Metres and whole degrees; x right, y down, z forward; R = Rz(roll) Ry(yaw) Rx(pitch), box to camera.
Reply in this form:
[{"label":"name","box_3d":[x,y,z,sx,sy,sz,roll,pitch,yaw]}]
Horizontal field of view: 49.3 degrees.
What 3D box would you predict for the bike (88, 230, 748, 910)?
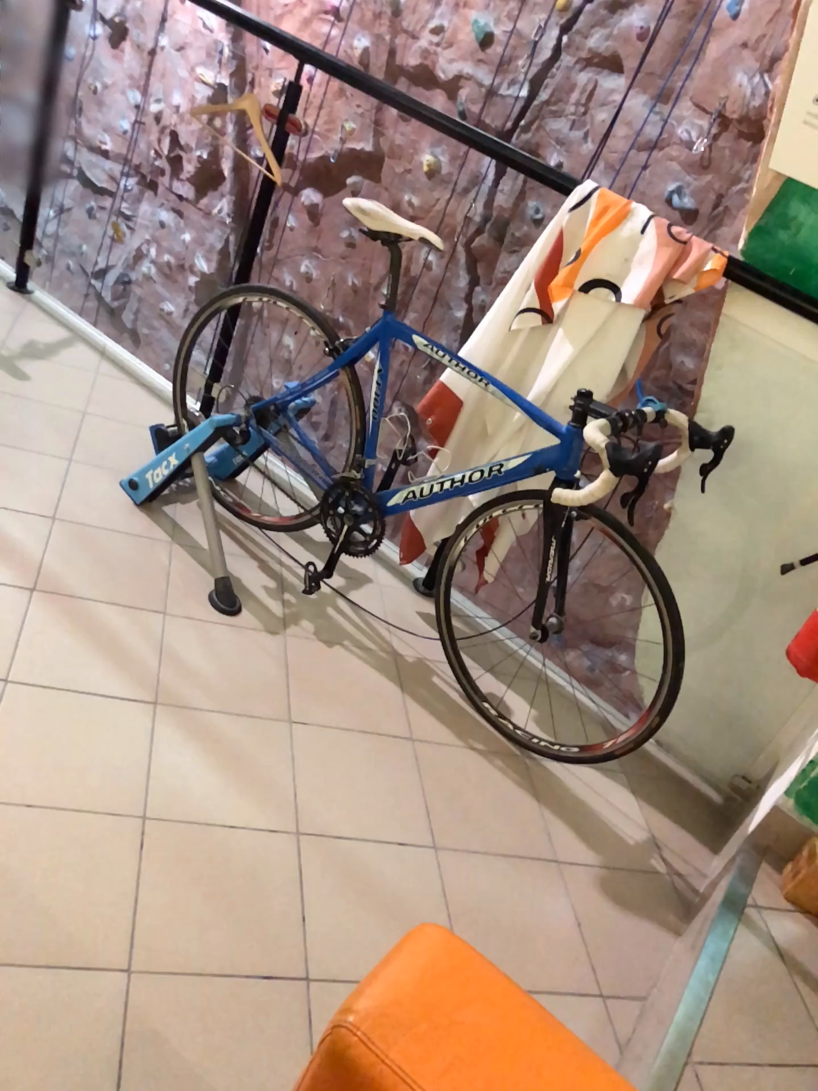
[{"label":"bike","box_3d":[-0.059,-0.036,2.179,1.554,0.682,0.467,40,32,19]}]
